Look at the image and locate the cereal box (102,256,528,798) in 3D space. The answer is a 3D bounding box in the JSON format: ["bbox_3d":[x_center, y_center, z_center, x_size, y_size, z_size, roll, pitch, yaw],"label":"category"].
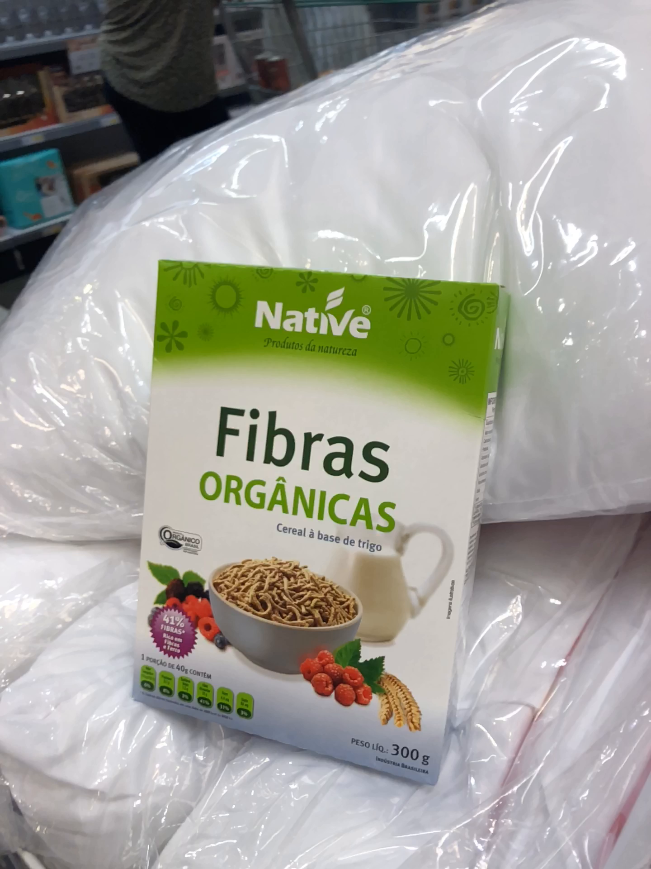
[{"bbox_3d":[-0.011,0.035,0.370,0.190,0.229,0.060,8,9,19],"label":"cereal box"}]
